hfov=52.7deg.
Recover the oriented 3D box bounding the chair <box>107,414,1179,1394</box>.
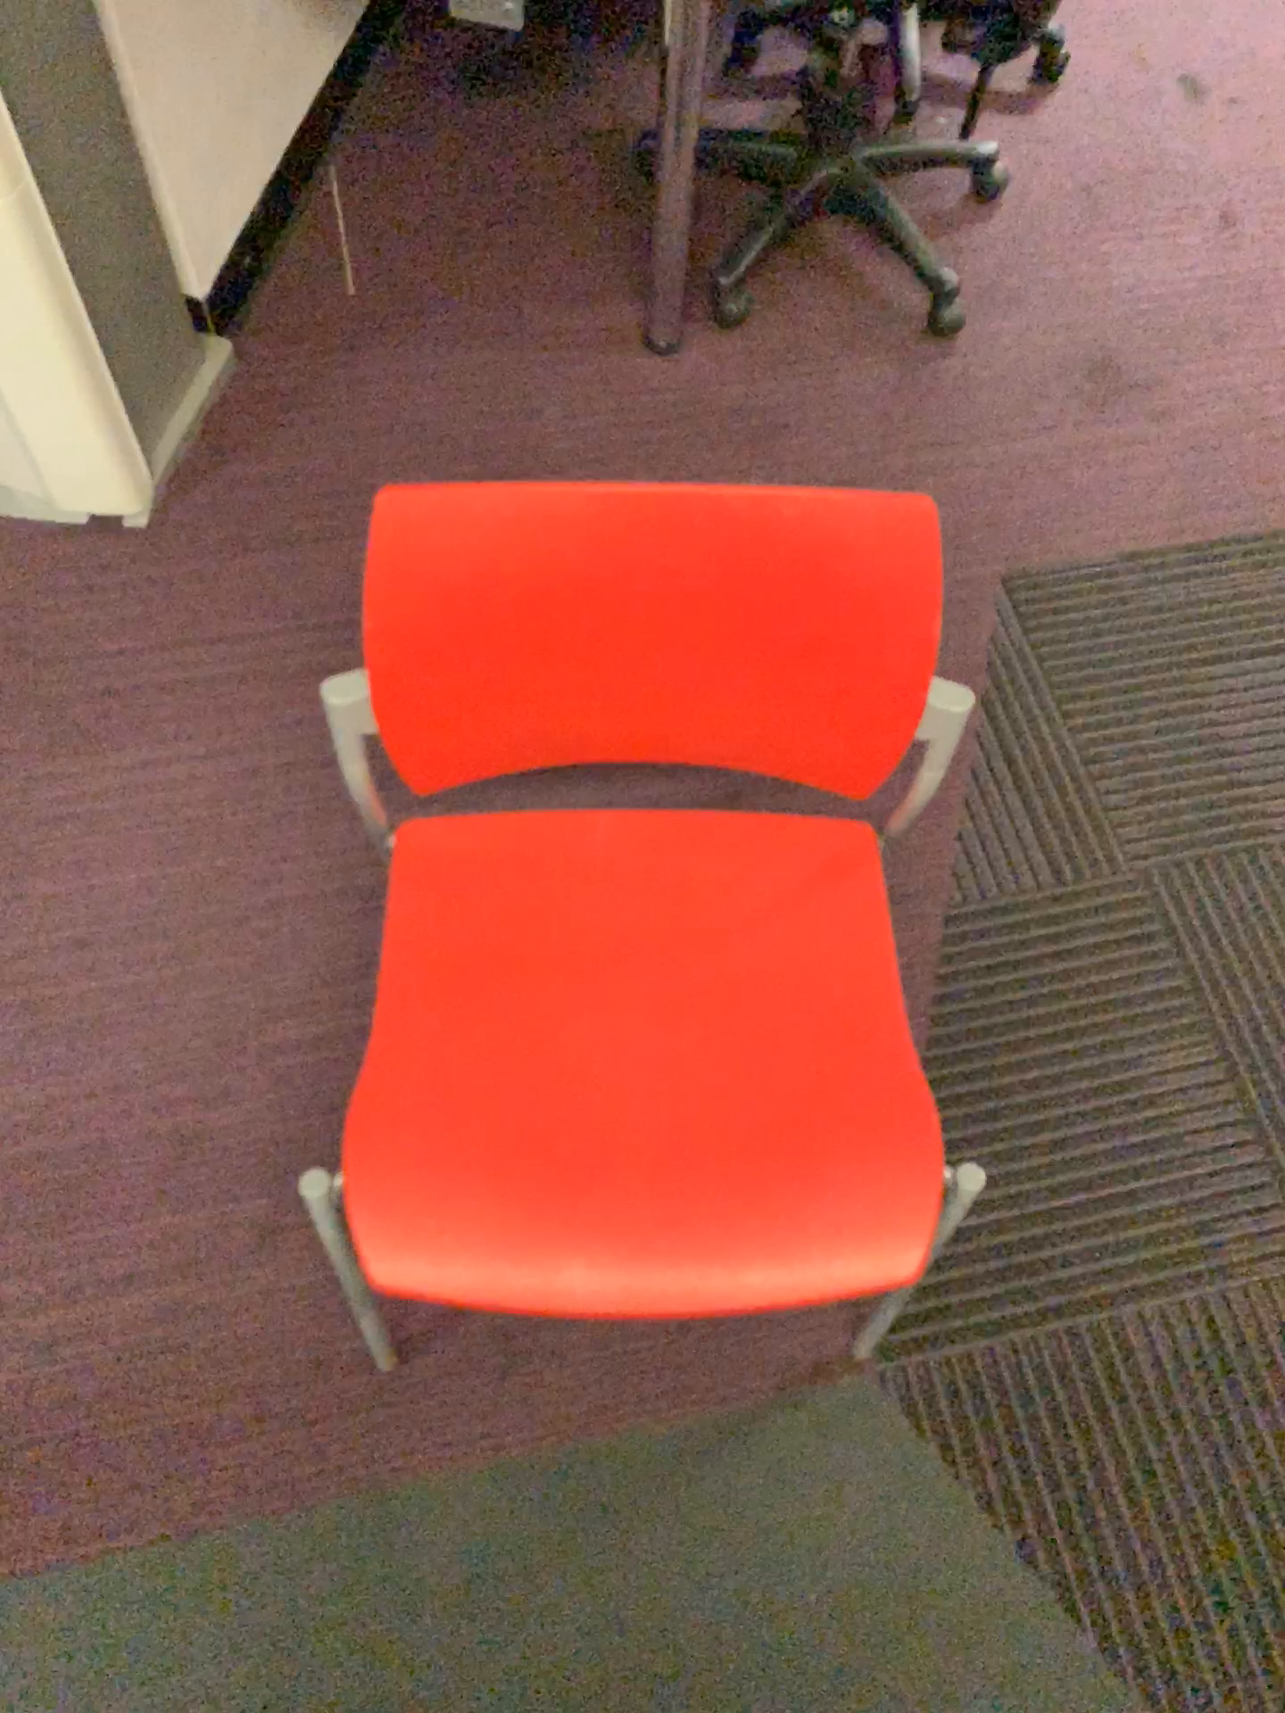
[{"bbox_3d":[0.010,0.102,1.090,0.540,0.686,0.563,2,62,1],"label":"chair"}]
